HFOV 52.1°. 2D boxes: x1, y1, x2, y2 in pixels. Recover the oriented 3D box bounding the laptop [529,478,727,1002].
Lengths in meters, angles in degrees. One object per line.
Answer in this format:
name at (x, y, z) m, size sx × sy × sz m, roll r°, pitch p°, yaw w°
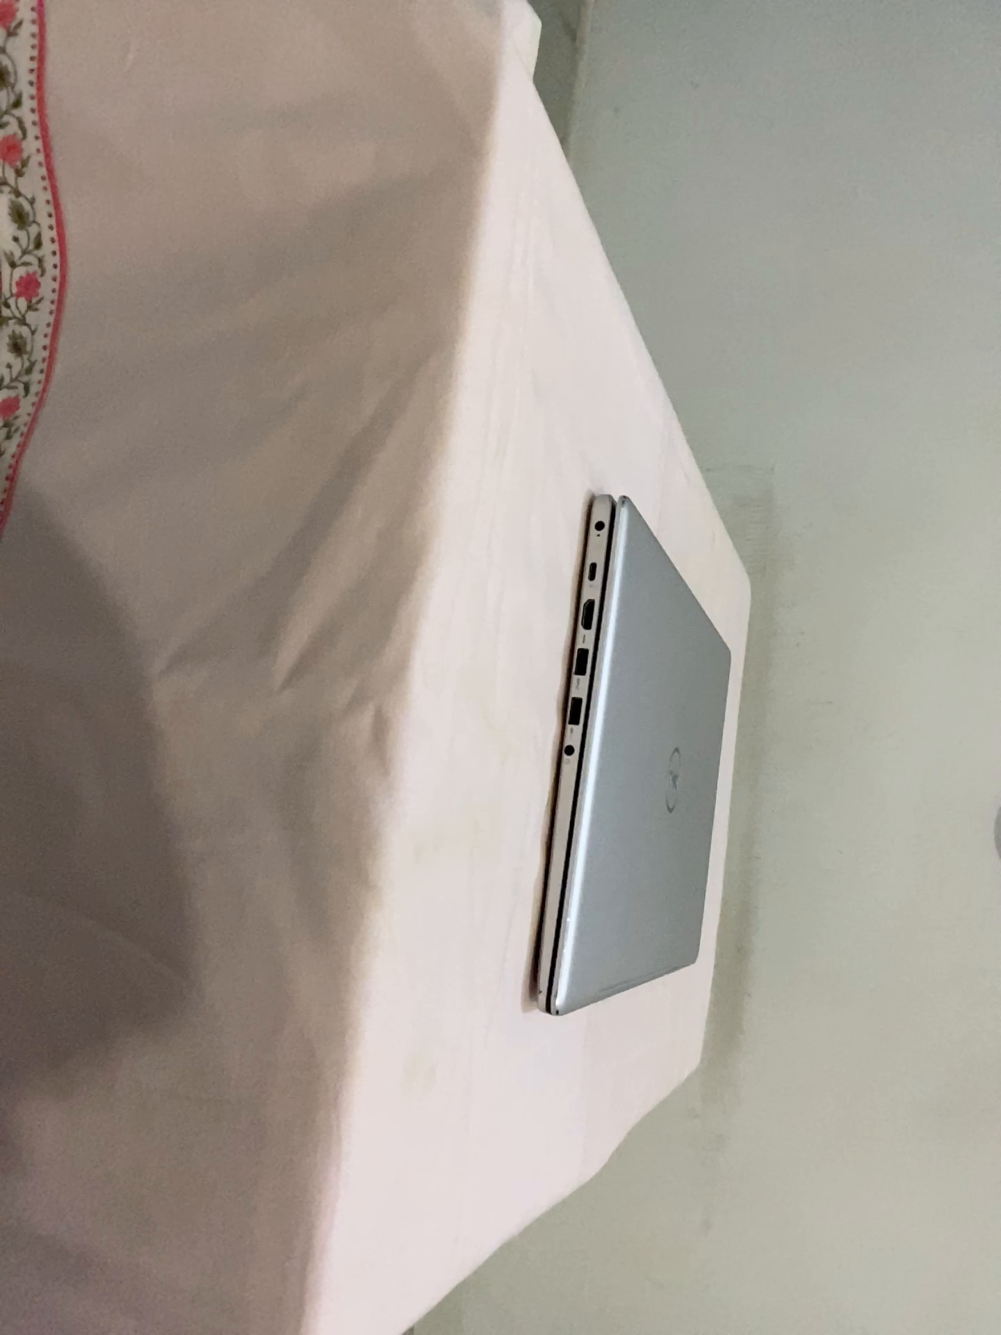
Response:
laptop at (0.095, 0.058, 0.622) m, size 0.361 × 0.004 × 0.236 m, roll 27°, pitch 71°, yaw -67°
